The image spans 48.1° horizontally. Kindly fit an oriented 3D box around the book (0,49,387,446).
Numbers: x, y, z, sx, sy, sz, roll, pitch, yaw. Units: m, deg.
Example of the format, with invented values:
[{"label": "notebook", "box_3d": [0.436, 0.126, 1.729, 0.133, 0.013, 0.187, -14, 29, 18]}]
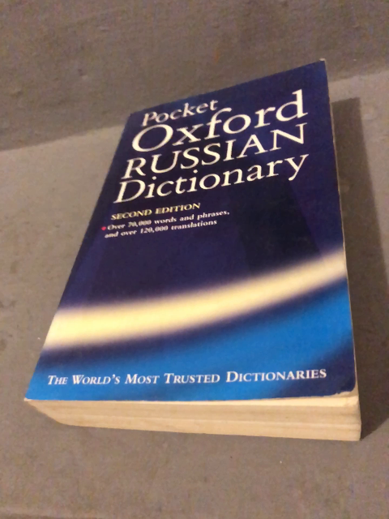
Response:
[{"label": "book", "box_3d": [0.007, -0.019, 0.213, 0.137, 0.032, 0.195, -7, 50, 22]}]
